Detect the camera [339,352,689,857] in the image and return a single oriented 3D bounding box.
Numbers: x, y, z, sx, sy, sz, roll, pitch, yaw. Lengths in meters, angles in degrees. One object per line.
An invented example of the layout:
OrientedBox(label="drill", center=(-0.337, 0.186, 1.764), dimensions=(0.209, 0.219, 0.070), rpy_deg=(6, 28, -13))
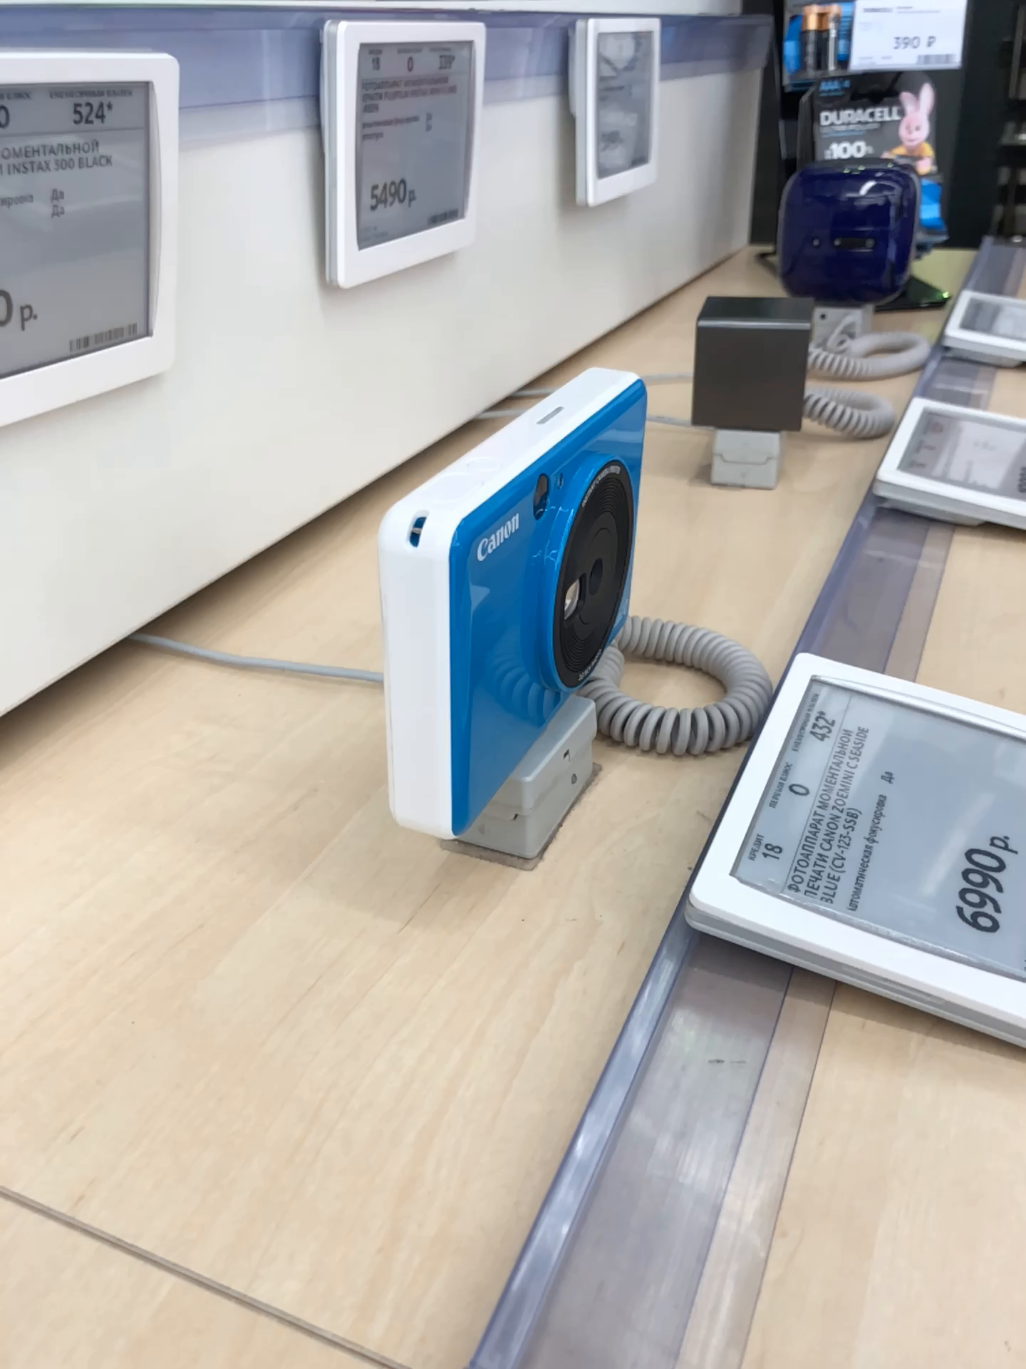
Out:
OrientedBox(label="camera", center=(0.006, -0.026, 0.267), dimensions=(0.030, 0.070, 0.121), rpy_deg=(14, 34, 20))
